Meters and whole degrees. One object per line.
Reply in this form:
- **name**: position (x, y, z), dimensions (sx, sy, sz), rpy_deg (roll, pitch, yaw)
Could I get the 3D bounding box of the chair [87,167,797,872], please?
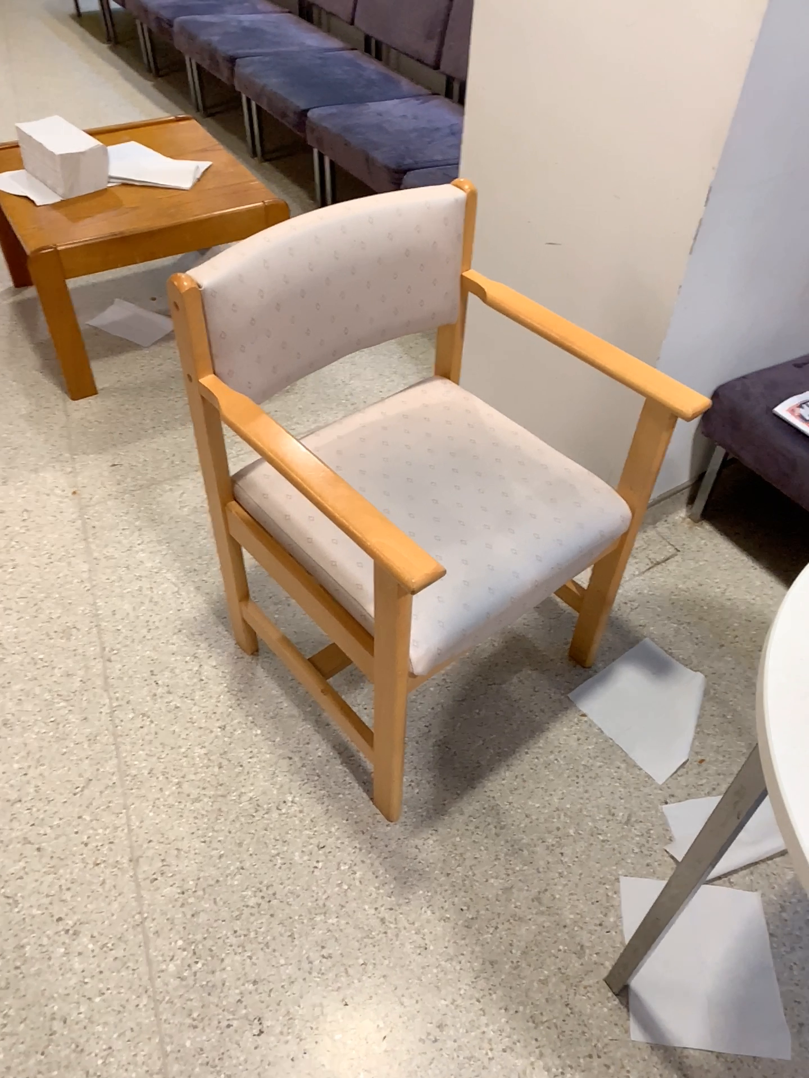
- **chair**: position (0.023, -0.067, 1.253), dimensions (0.632, 0.634, 0.634), rpy_deg (-29, 54, -28)
